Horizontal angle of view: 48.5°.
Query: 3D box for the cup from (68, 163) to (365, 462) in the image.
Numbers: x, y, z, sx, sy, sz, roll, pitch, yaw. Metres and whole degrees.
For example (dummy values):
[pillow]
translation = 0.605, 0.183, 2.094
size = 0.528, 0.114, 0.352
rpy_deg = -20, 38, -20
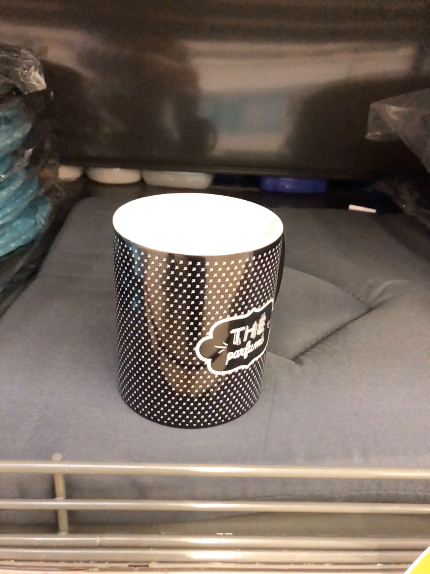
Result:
[cup]
translation = 0.003, 0.000, 0.257
size = 0.090, 0.099, 0.121
rpy_deg = 24, 33, 35
